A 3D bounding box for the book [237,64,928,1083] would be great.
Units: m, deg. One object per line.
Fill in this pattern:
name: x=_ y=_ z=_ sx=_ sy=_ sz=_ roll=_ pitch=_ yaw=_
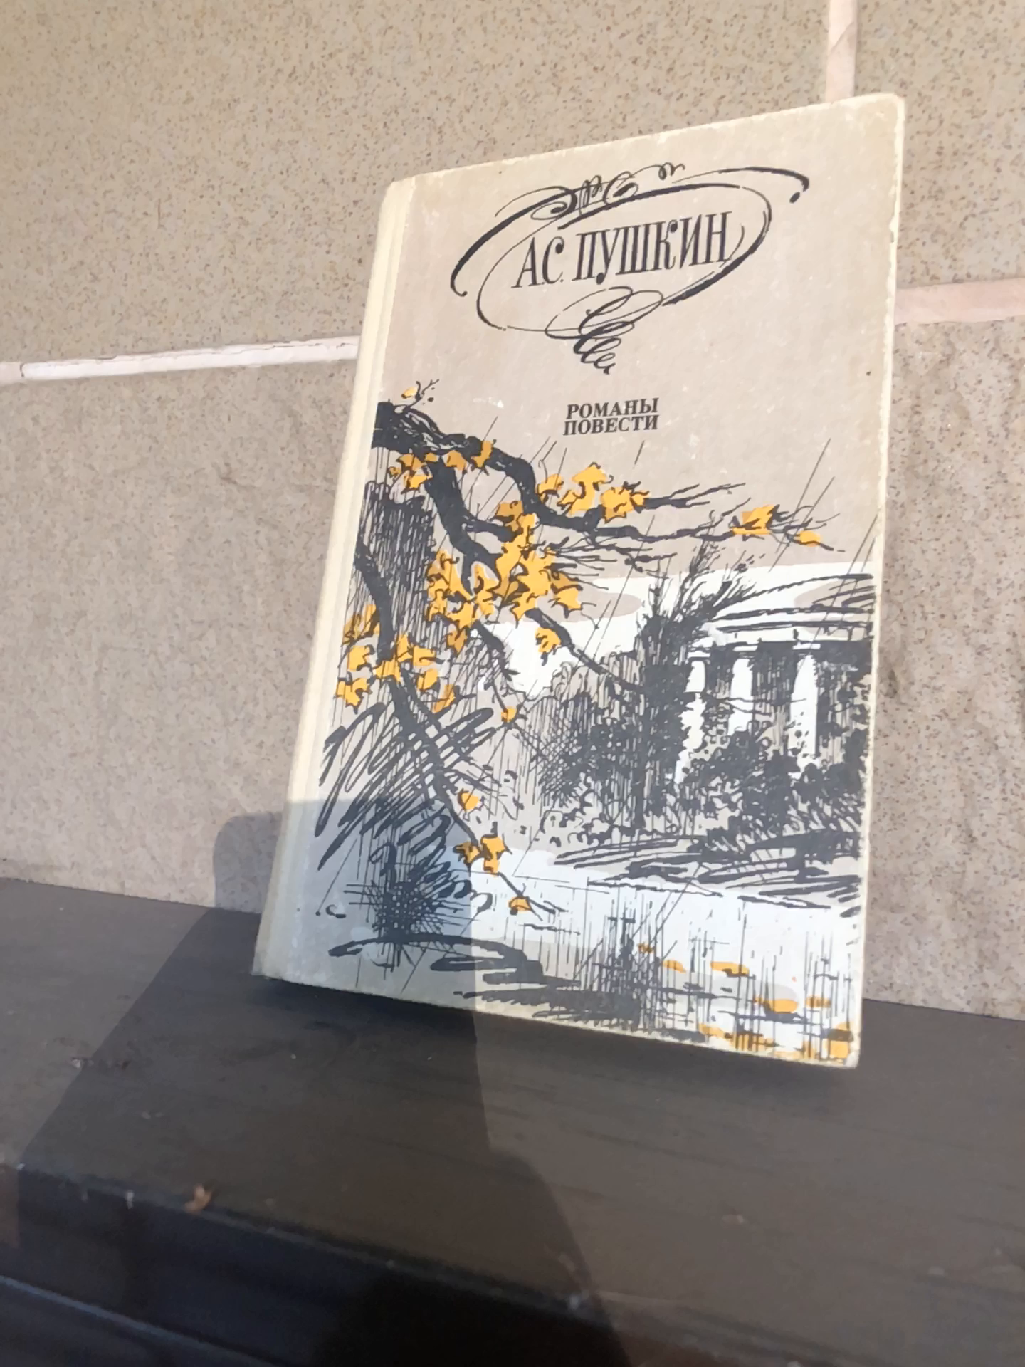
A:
book: x=0.020 y=-0.028 z=0.253 sx=0.125 sy=0.198 sz=0.040 roll=2 pitch=-13 yaw=23
